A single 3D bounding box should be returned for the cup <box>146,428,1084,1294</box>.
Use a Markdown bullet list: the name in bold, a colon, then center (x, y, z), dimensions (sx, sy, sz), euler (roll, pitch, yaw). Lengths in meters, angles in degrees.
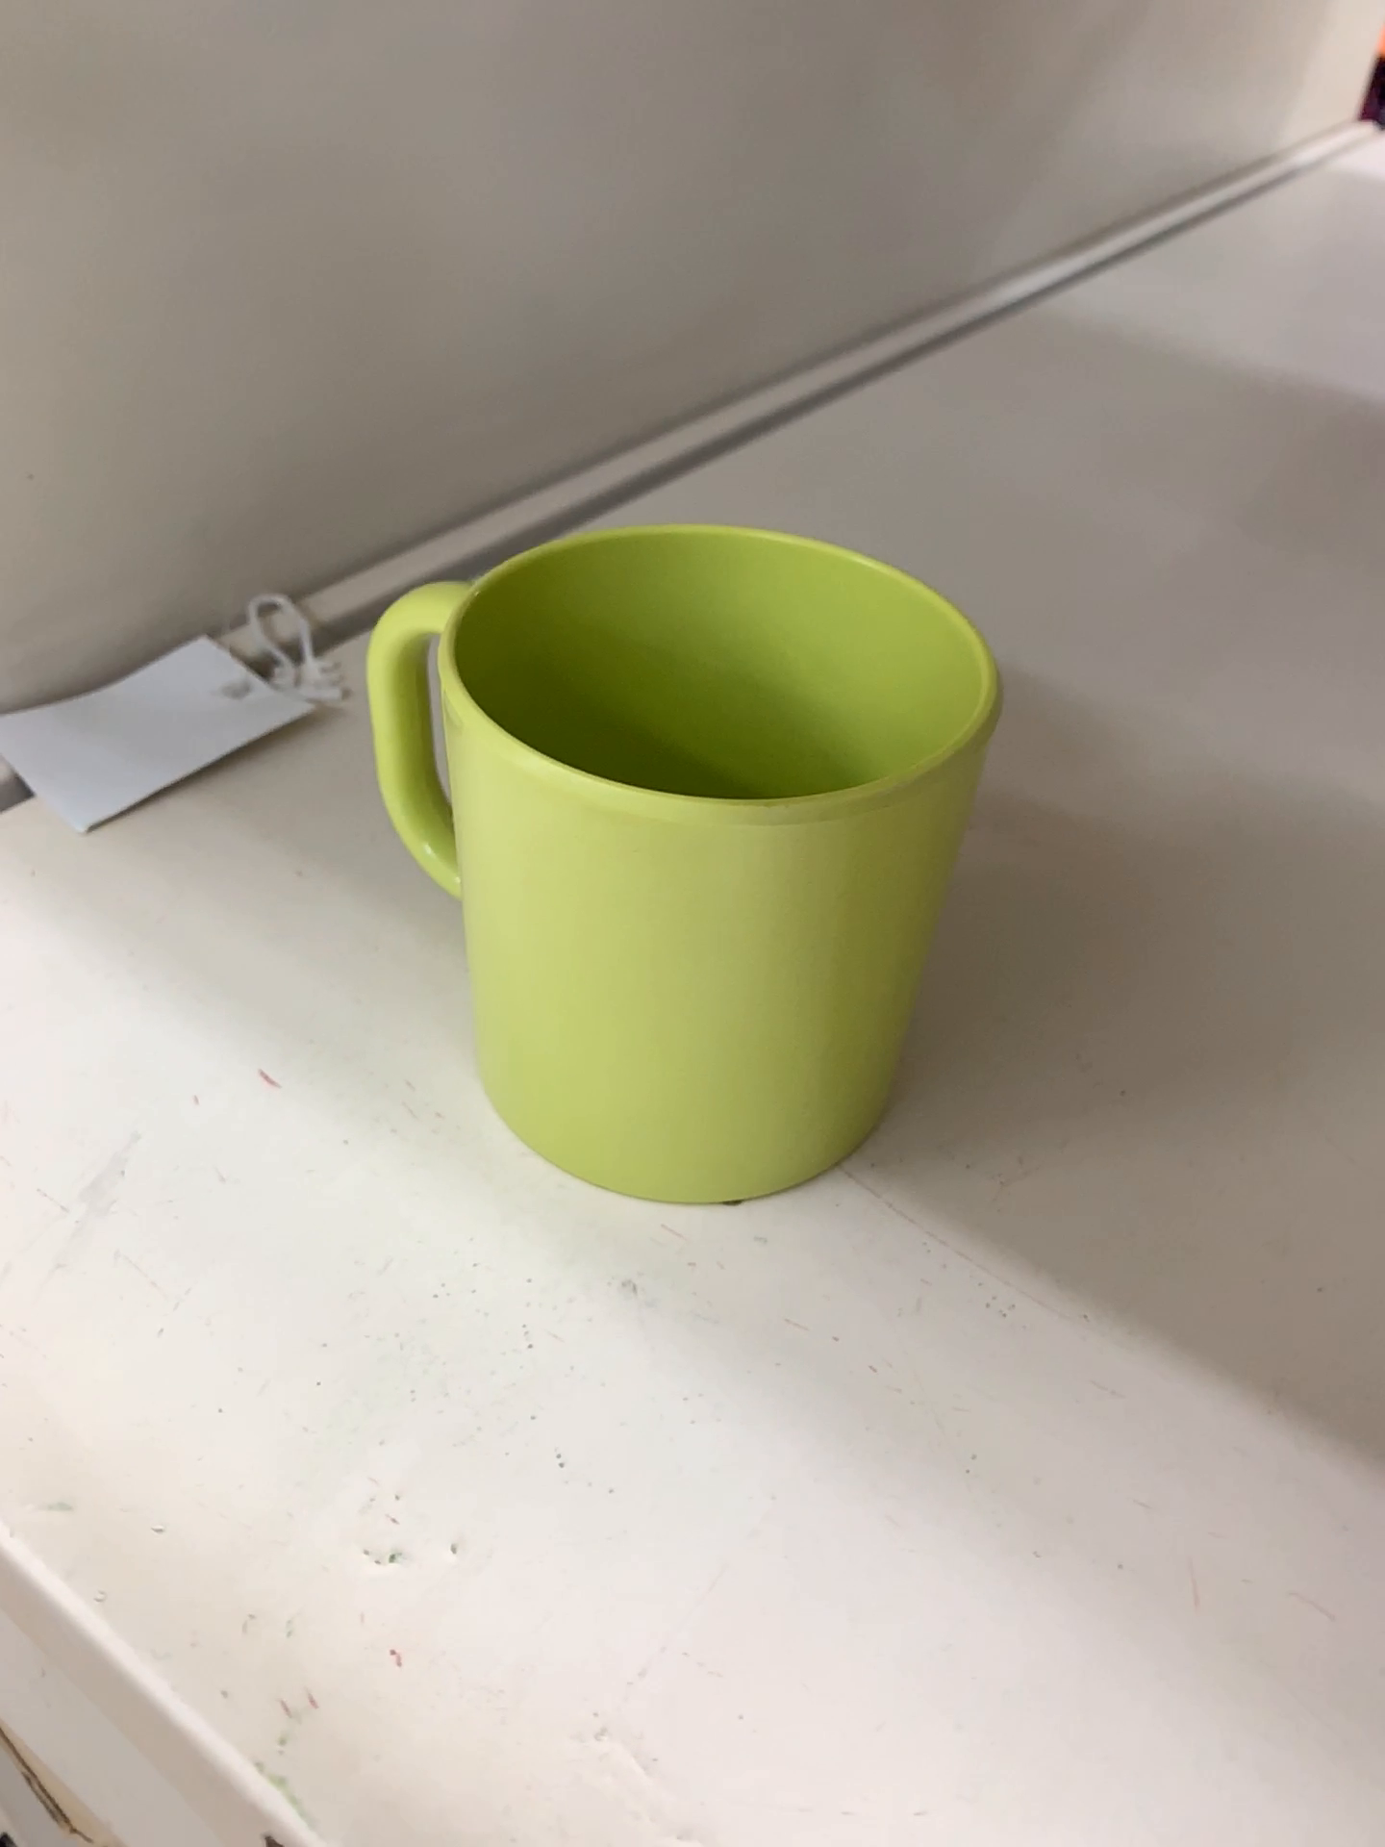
- **cup**: center (-0.008, -0.015, 0.200), dimensions (0.089, 0.063, 0.078), euler (21, 42, 20)
